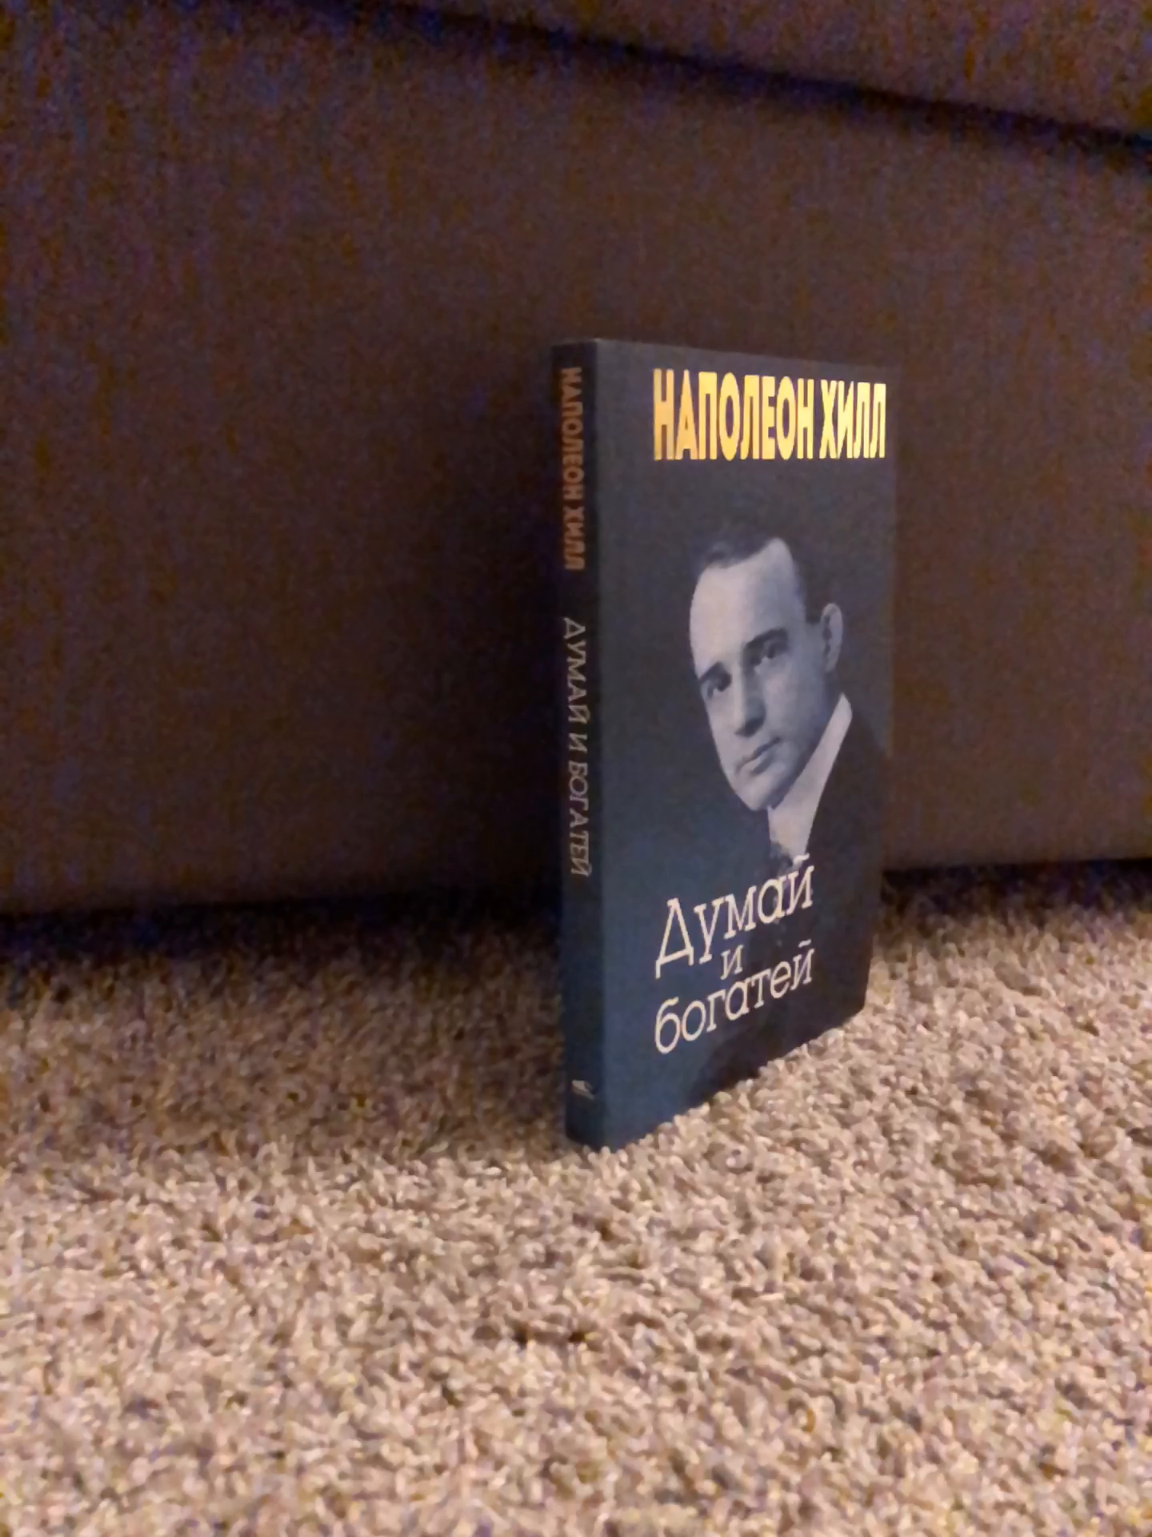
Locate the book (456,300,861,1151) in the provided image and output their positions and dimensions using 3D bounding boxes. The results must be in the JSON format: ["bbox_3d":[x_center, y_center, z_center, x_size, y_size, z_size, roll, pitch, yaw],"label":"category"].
[{"bbox_3d":[0.027,-0.015,0.351,0.030,0.198,0.132,10,14,42],"label":"book"}]
